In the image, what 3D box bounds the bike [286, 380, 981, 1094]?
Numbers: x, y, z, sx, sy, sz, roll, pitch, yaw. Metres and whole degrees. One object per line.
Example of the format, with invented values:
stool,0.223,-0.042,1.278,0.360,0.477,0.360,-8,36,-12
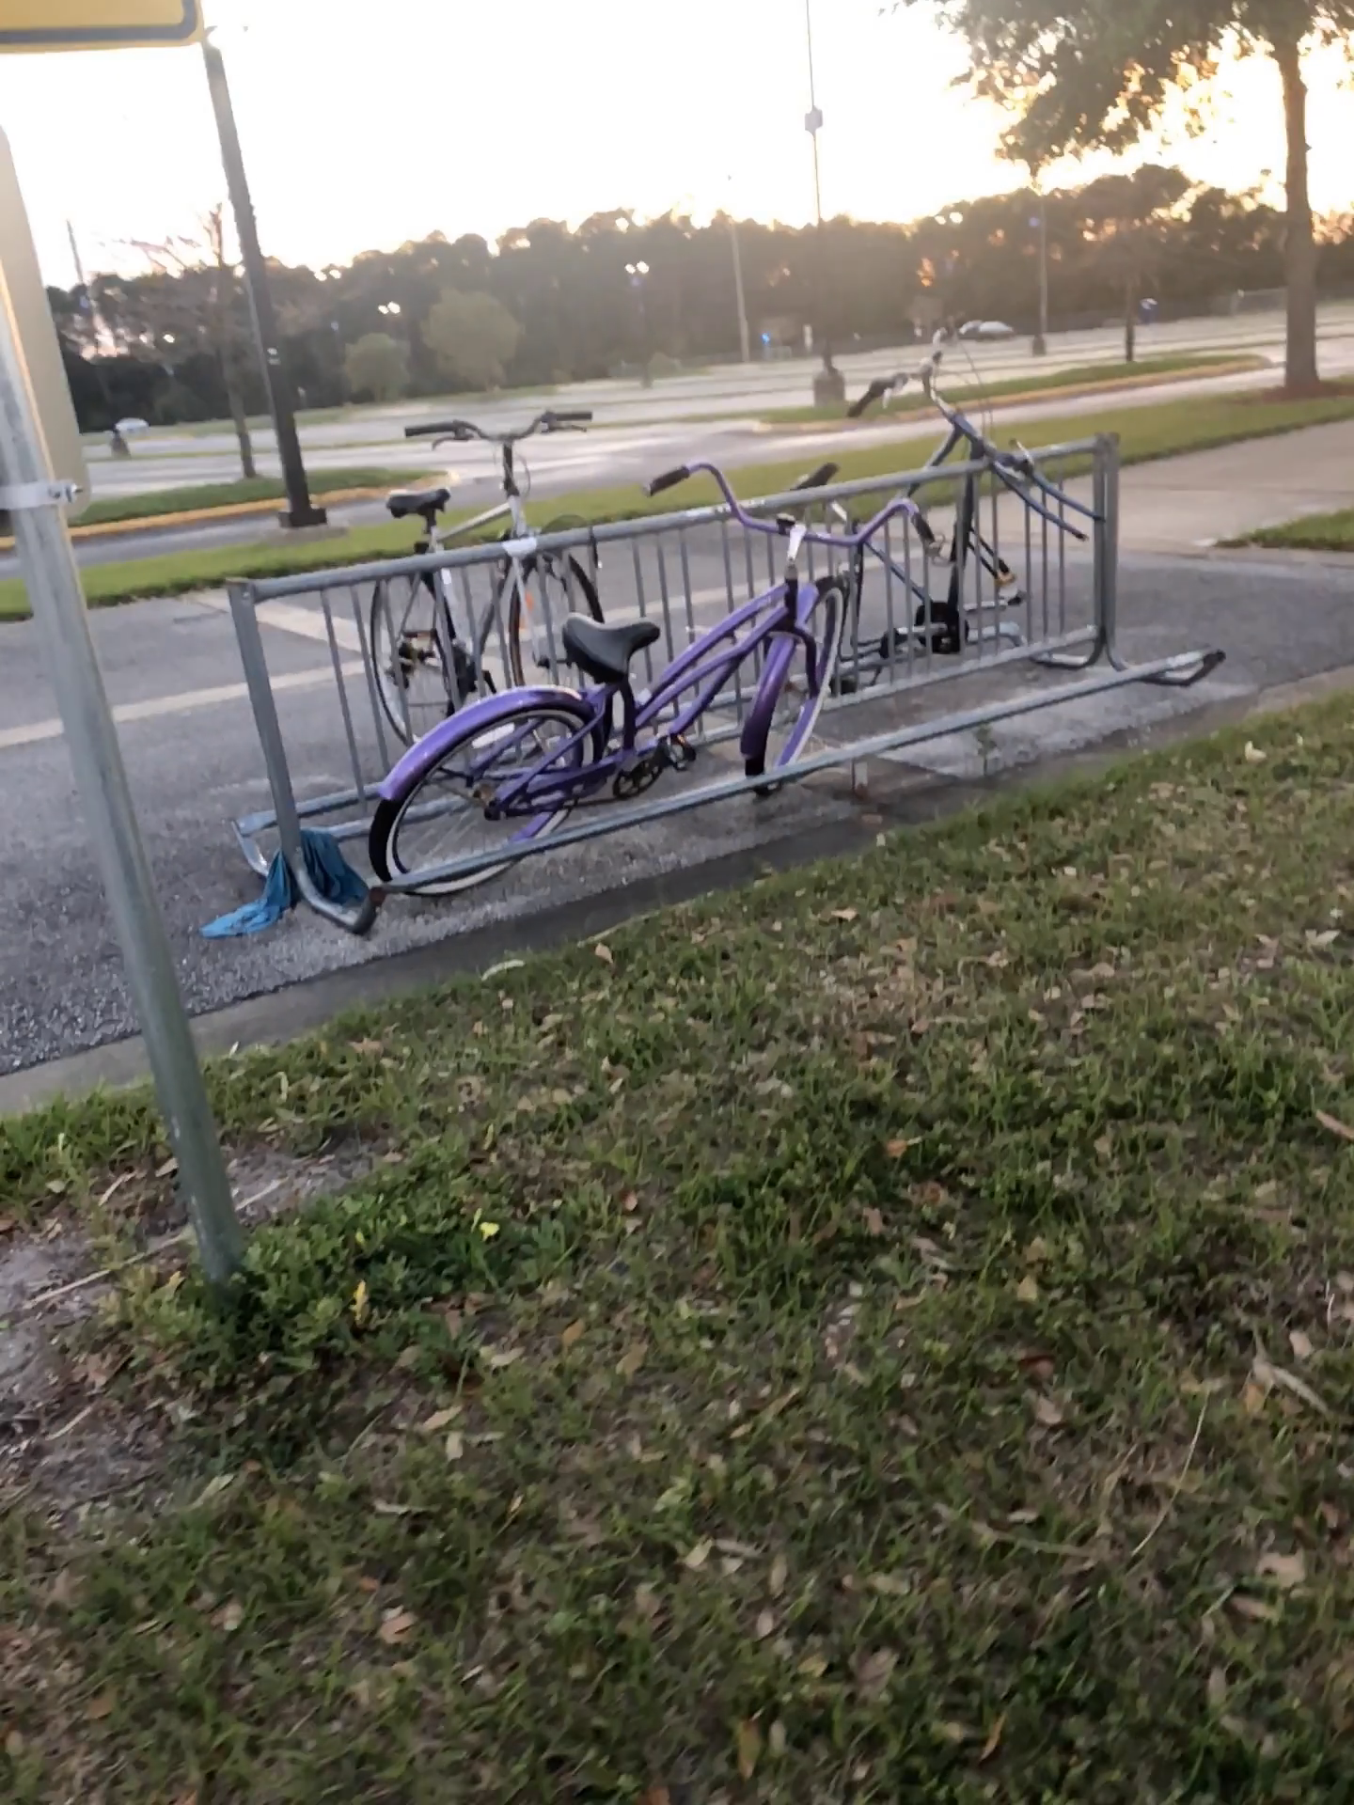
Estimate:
bike,-0.025,-0.564,3.782,1.705,1.117,0.851,-27,27,-37
